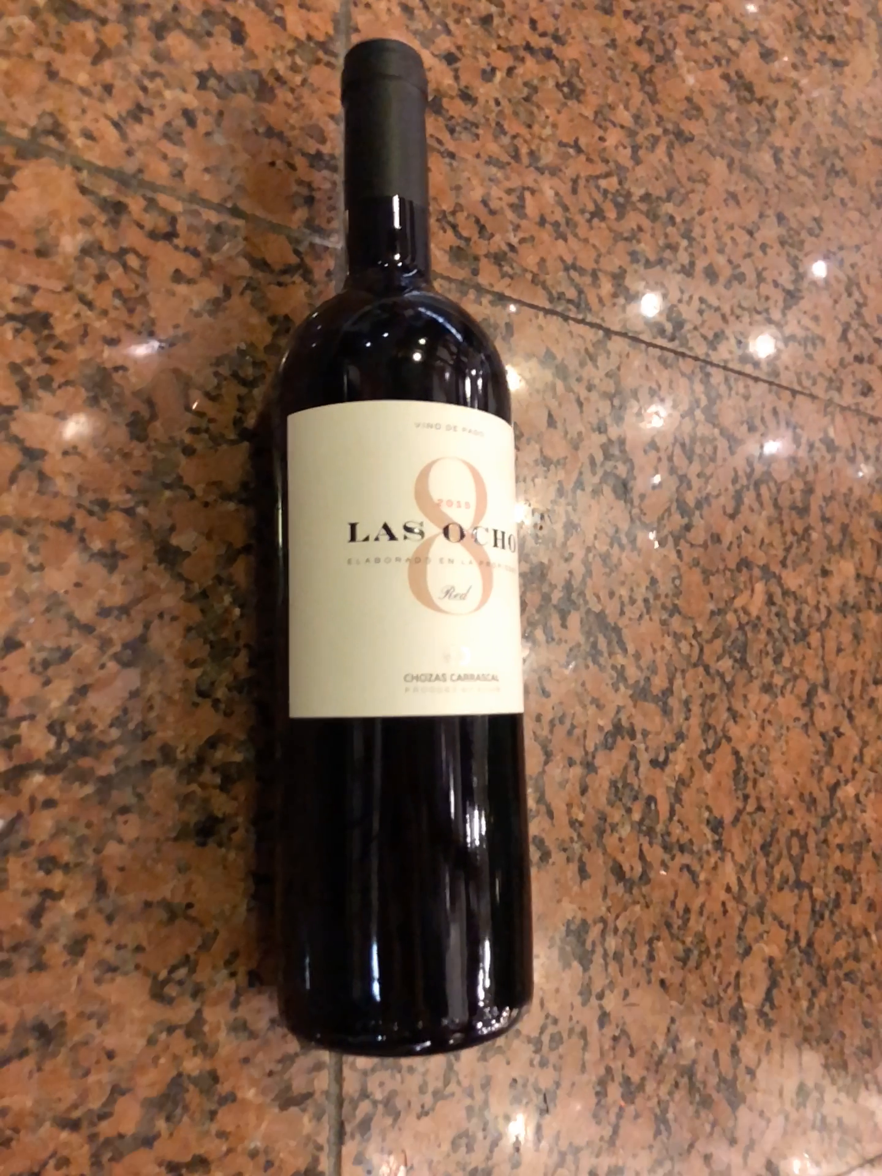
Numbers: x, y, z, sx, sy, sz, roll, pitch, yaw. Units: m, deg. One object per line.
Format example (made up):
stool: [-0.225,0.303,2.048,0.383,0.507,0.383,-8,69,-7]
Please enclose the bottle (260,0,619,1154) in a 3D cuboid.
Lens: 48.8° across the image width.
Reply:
bottle: [-0.003,-0.017,0.314,0.090,0.060,0.330,4,81,-36]
